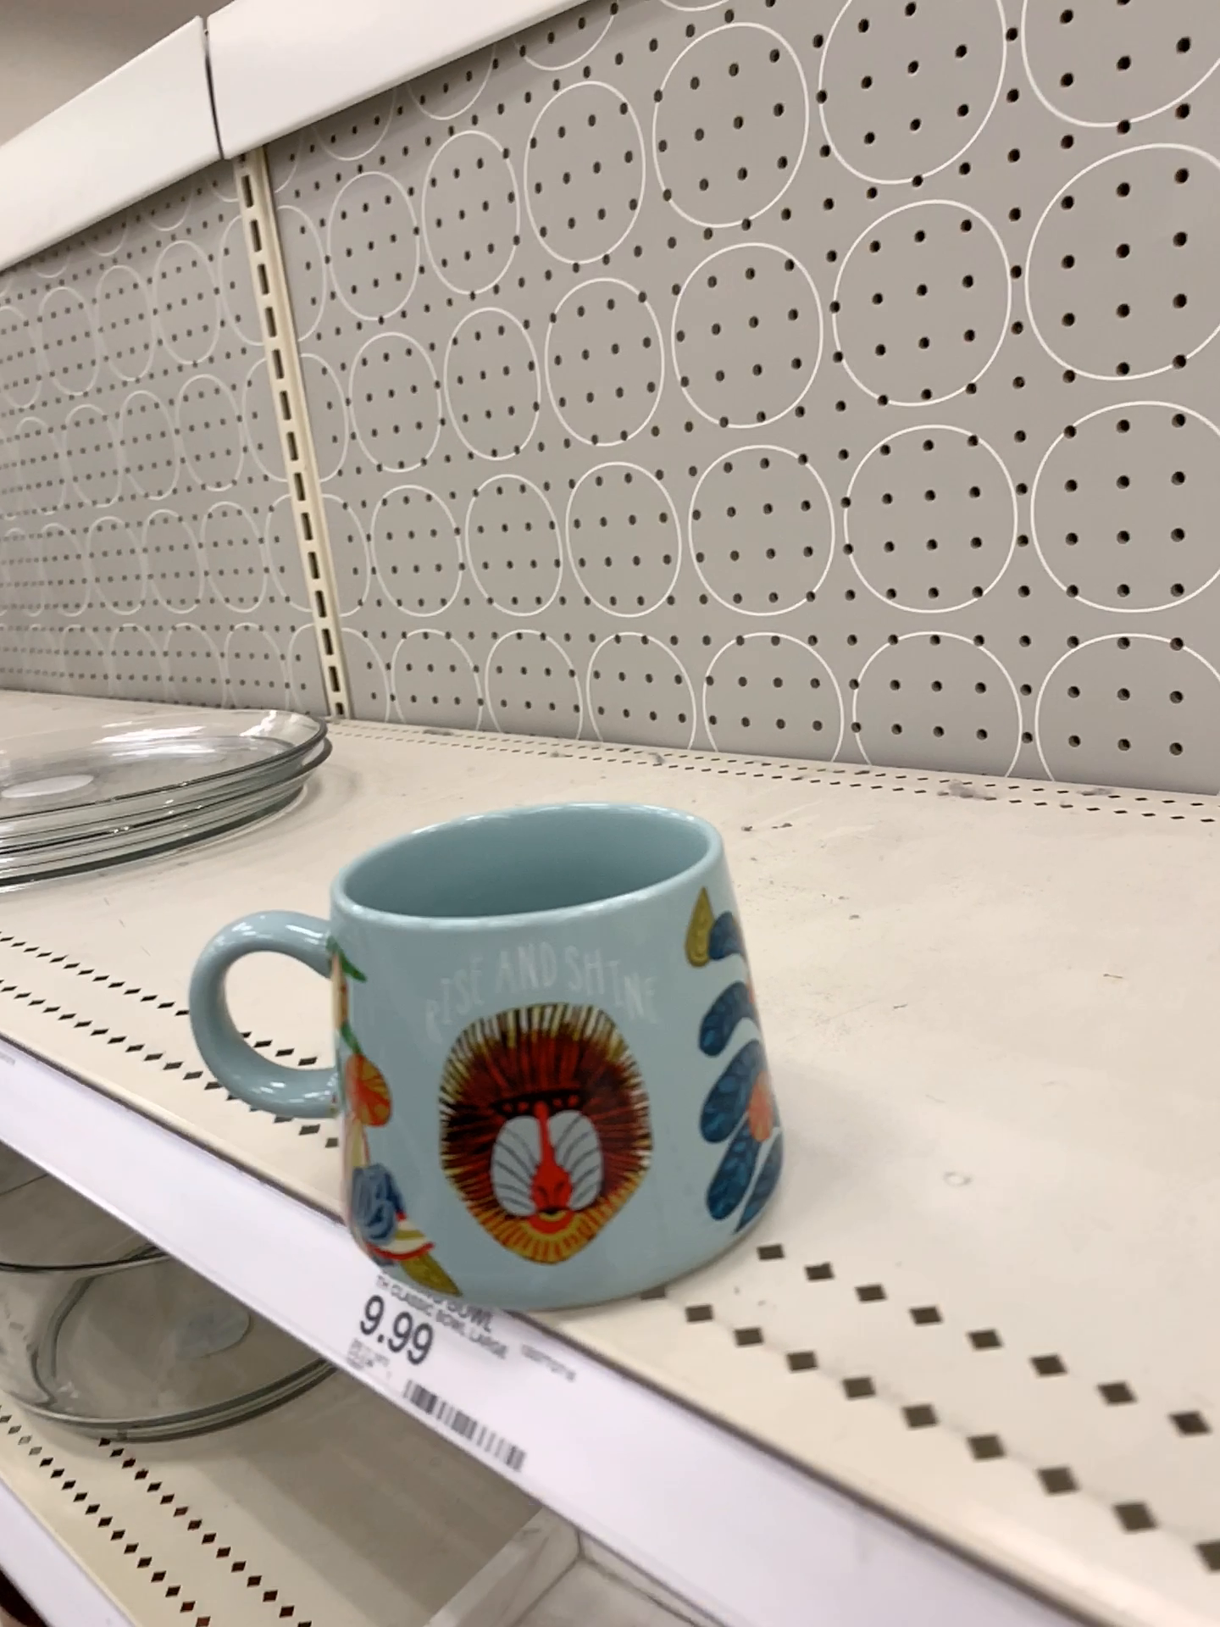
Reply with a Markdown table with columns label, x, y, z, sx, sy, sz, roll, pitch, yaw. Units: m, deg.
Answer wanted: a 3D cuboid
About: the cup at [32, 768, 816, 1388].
| label | x | y | z | sx | sy | sz | roll | pitch | yaw |
| --- | --- | --- | --- | --- | --- | --- | --- | --- | --- |
| cup | -0.029 | 0.053 | 0.297 | 0.140 | 0.090 | 0.120 | -5 | 15 | 7 |
